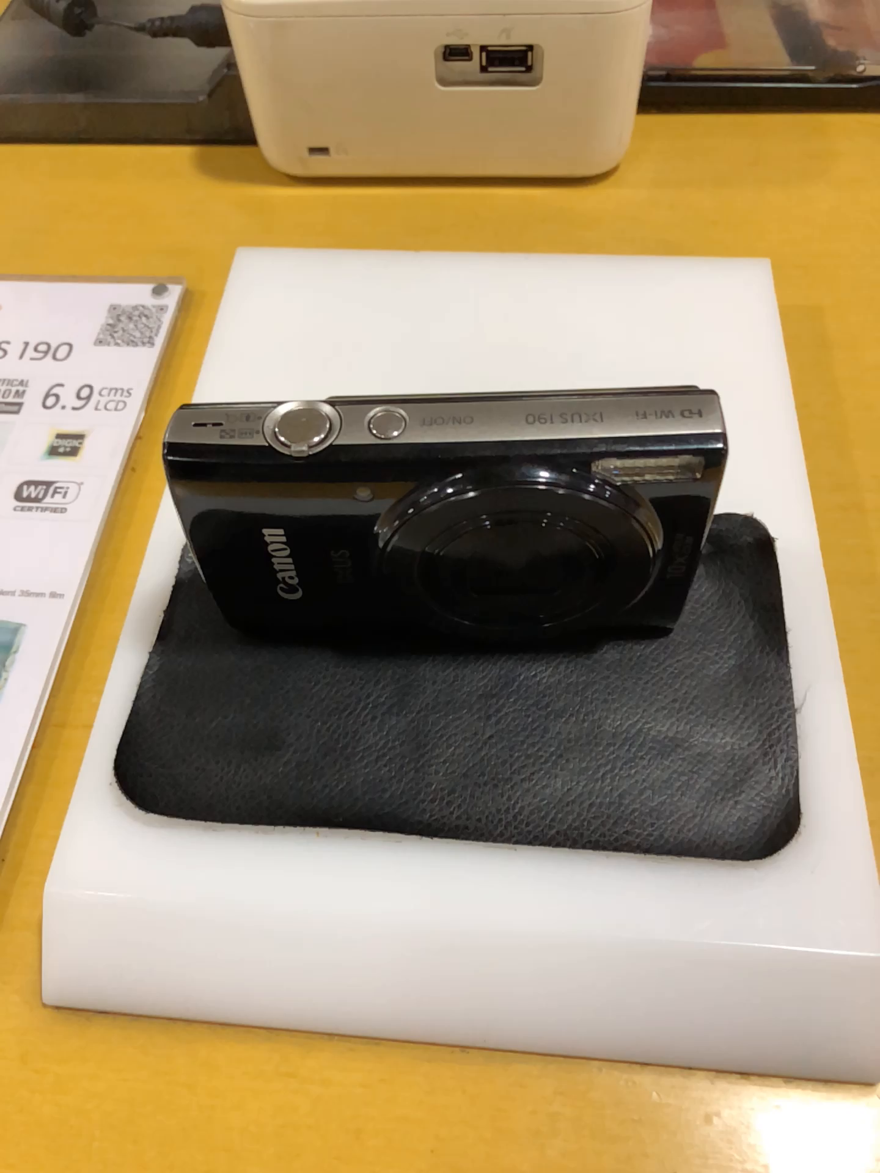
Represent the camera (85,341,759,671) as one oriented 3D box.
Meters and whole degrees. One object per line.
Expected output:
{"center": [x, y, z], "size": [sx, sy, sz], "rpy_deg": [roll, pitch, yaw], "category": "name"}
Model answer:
{"center": [-0.002, -0.012, 0.175], "size": [0.100, 0.050, 0.030], "rpy_deg": [-2, 56, 1], "category": "camera"}
